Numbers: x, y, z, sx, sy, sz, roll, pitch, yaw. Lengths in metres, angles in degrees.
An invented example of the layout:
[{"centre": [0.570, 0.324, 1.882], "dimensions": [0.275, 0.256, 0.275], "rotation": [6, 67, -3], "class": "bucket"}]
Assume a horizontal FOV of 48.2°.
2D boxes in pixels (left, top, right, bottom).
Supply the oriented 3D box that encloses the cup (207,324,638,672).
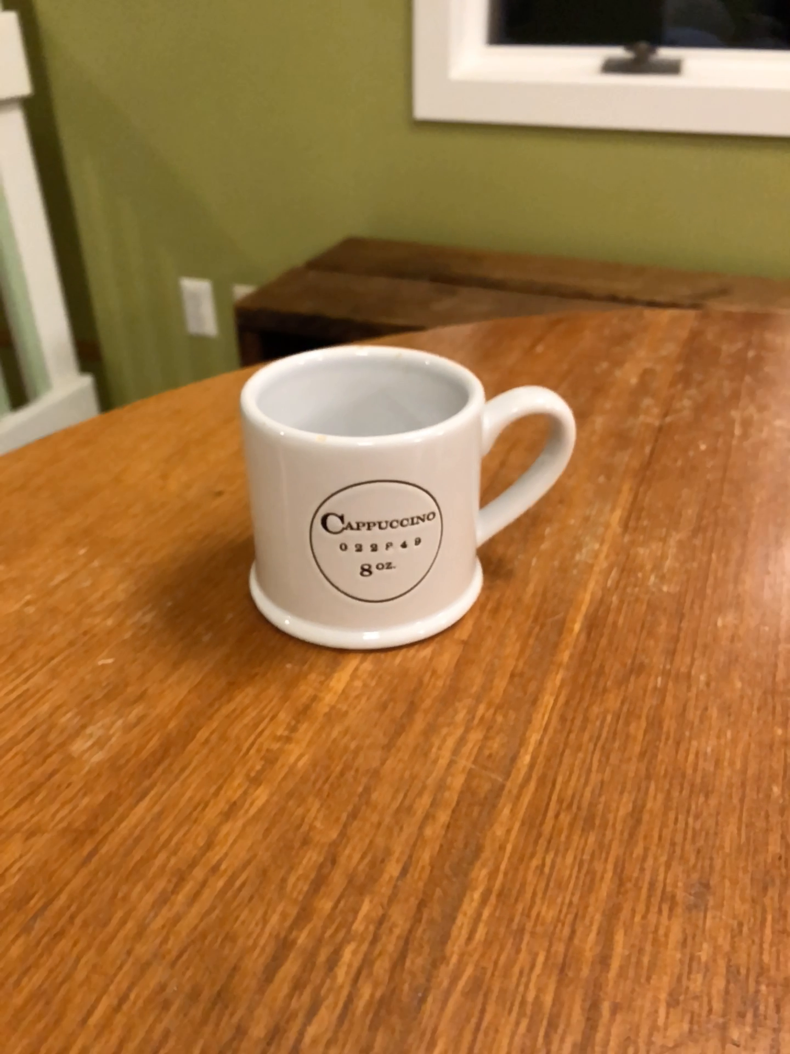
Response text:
[{"centre": [0.005, -0.017, 0.341], "dimensions": [0.135, 0.082, 0.090], "rotation": [-9, 33, -13], "class": "cup"}]
